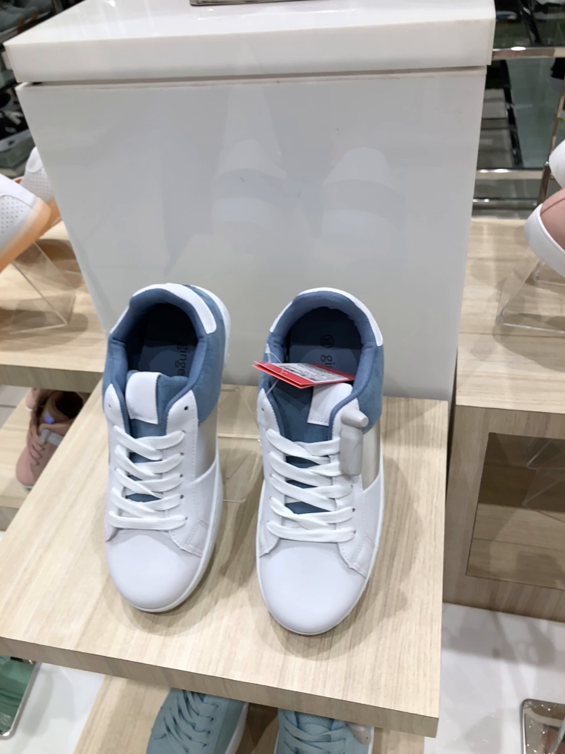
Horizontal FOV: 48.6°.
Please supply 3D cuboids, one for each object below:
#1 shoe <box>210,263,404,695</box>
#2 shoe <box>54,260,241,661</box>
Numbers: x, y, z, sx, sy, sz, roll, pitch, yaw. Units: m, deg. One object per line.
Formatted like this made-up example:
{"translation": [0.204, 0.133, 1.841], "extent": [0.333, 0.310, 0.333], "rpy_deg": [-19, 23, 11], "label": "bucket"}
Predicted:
{"translation": [0.024, 0.061, 0.446], "extent": [0.102, 0.263, 0.104], "rpy_deg": [4, 0, 13], "label": "shoe"}
{"translation": [-0.094, 0.053, 0.469], "extent": [0.092, 0.261, 0.104], "rpy_deg": [2, -1, 11], "label": "shoe"}
